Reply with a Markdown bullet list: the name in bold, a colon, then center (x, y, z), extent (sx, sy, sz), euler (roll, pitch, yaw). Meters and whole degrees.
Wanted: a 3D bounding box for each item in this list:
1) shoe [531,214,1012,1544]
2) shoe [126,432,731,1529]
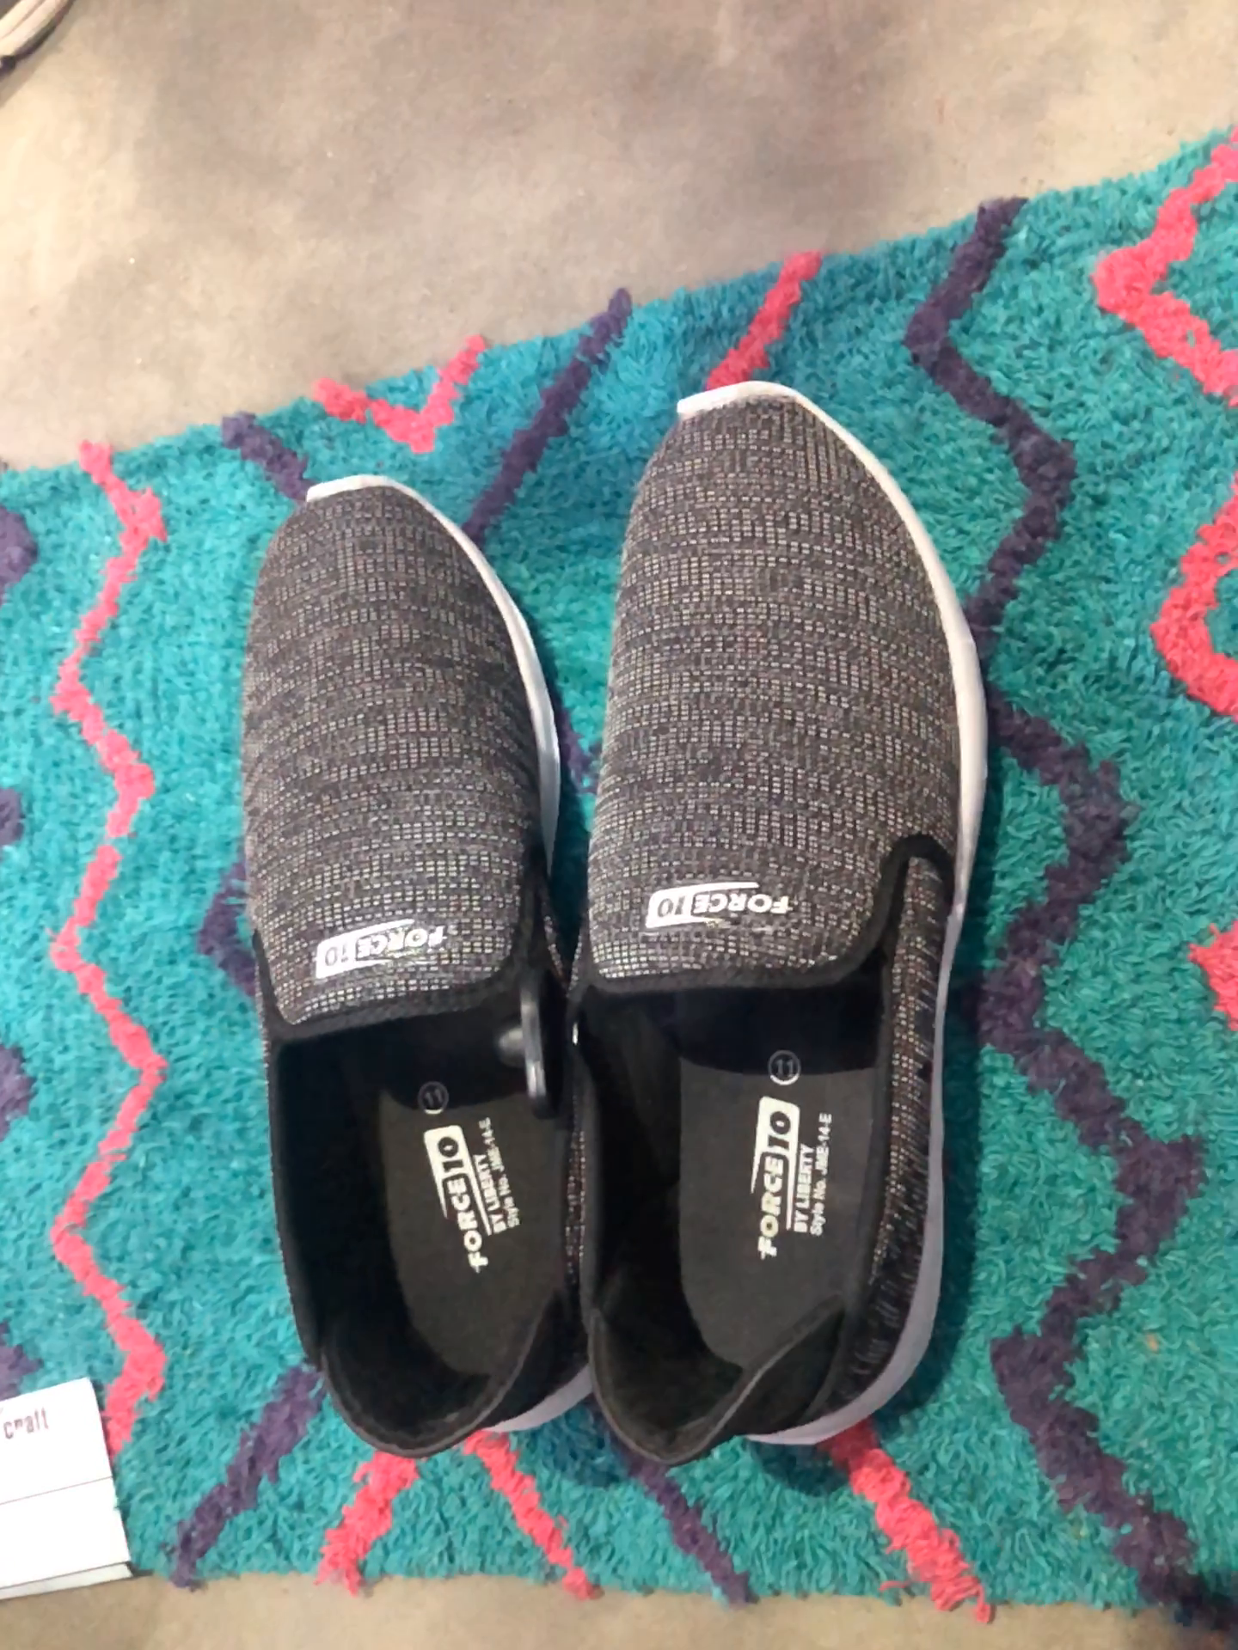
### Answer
- **shoe**: center (0.046, 0.012, 0.404), extent (0.110, 0.100, 0.330), euler (-4, 82, 20)
- **shoe**: center (-0.062, 0.046, 0.445), extent (0.110, 0.100, 0.300), euler (-16, 78, 18)
